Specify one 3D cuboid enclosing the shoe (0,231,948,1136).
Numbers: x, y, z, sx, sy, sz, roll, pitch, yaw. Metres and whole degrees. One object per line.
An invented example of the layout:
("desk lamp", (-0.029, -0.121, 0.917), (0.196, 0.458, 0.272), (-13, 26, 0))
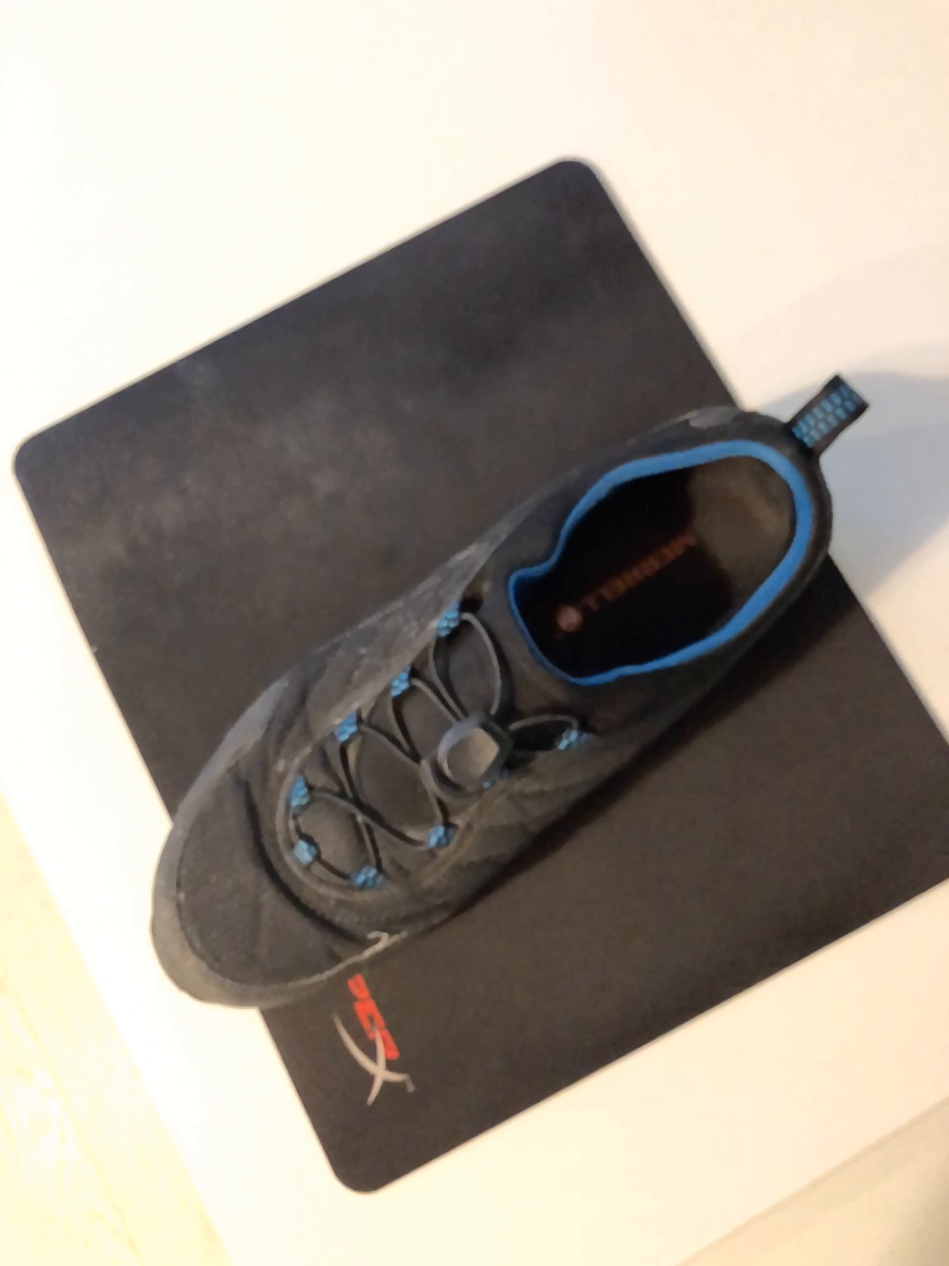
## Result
("shoe", (0.001, 0.018, 0.383), (0.300, 0.110, 0.130), (-37, 79, -1))
